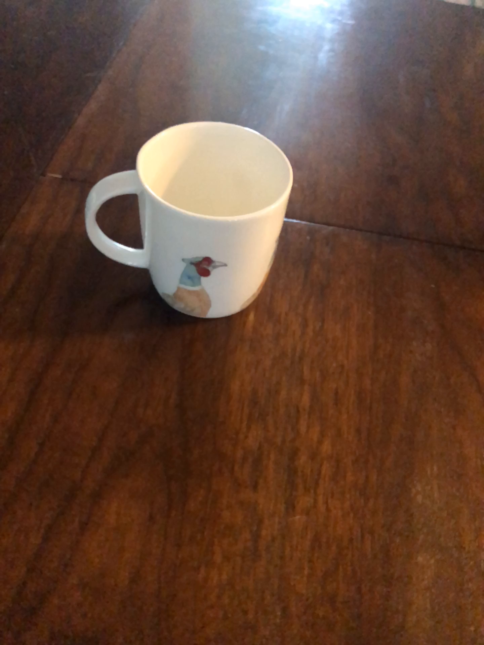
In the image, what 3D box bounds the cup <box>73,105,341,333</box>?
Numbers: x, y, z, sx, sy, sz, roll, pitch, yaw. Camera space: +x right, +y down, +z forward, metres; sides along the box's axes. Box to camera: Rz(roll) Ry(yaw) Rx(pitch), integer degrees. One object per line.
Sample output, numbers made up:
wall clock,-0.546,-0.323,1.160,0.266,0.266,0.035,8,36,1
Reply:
cup,-0.027,-0.063,0.321,0.130,0.090,0.090,-5,52,-11
